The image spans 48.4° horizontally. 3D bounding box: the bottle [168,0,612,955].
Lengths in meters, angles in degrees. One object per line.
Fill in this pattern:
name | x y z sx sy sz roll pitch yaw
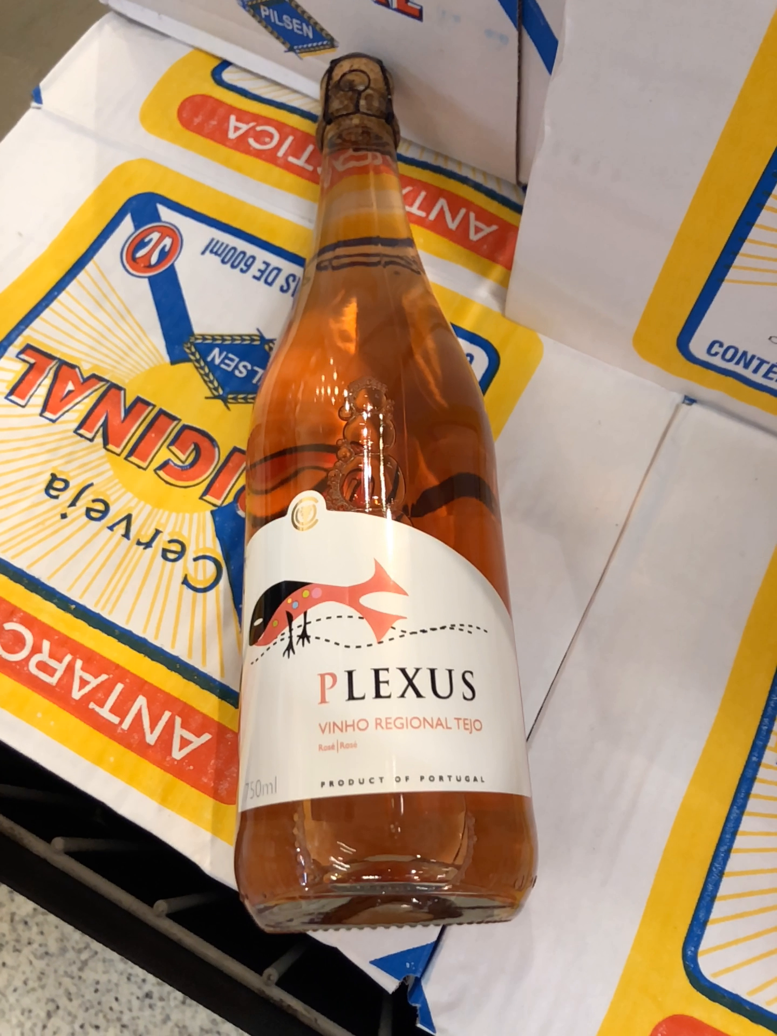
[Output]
bottle | -0.005 -0.033 0.265 0.090 0.070 0.291 -2 67 0
